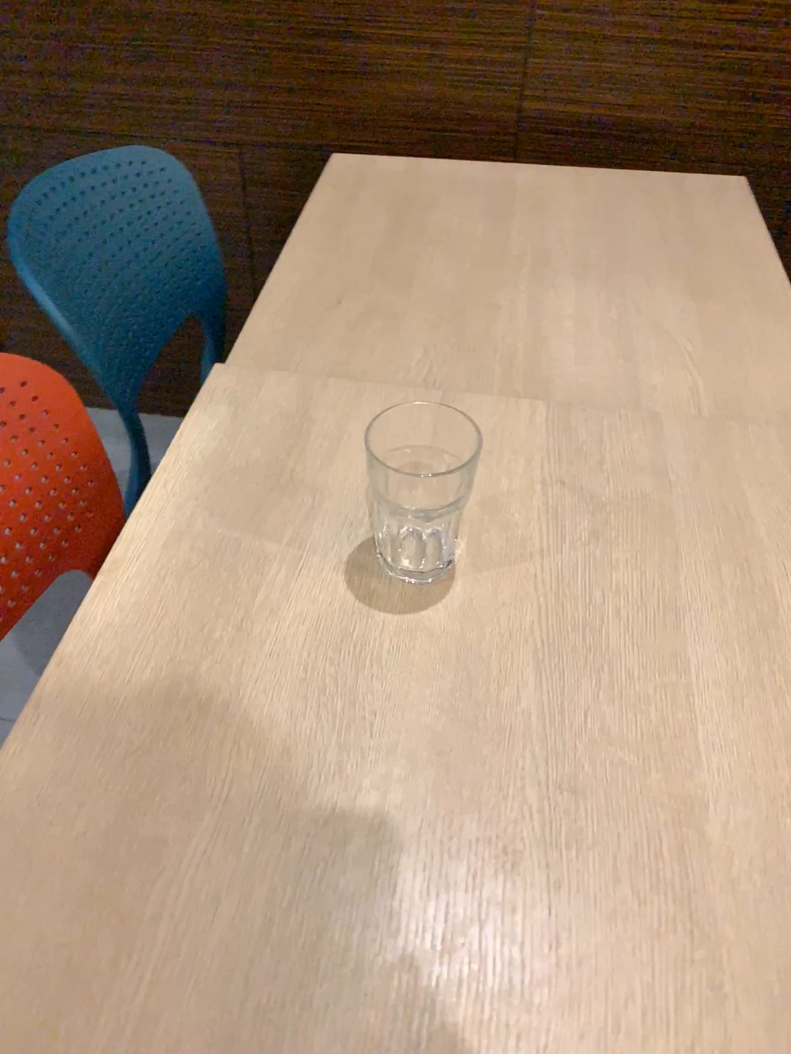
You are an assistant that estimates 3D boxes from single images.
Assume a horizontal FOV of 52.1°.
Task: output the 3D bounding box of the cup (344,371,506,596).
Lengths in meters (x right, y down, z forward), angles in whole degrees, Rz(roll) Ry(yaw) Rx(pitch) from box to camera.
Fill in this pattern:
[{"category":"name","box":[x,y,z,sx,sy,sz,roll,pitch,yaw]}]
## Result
[{"category":"cup","box":[0.016,-0.031,0.573,0.080,0.119,0.080,1,44,-1]}]
